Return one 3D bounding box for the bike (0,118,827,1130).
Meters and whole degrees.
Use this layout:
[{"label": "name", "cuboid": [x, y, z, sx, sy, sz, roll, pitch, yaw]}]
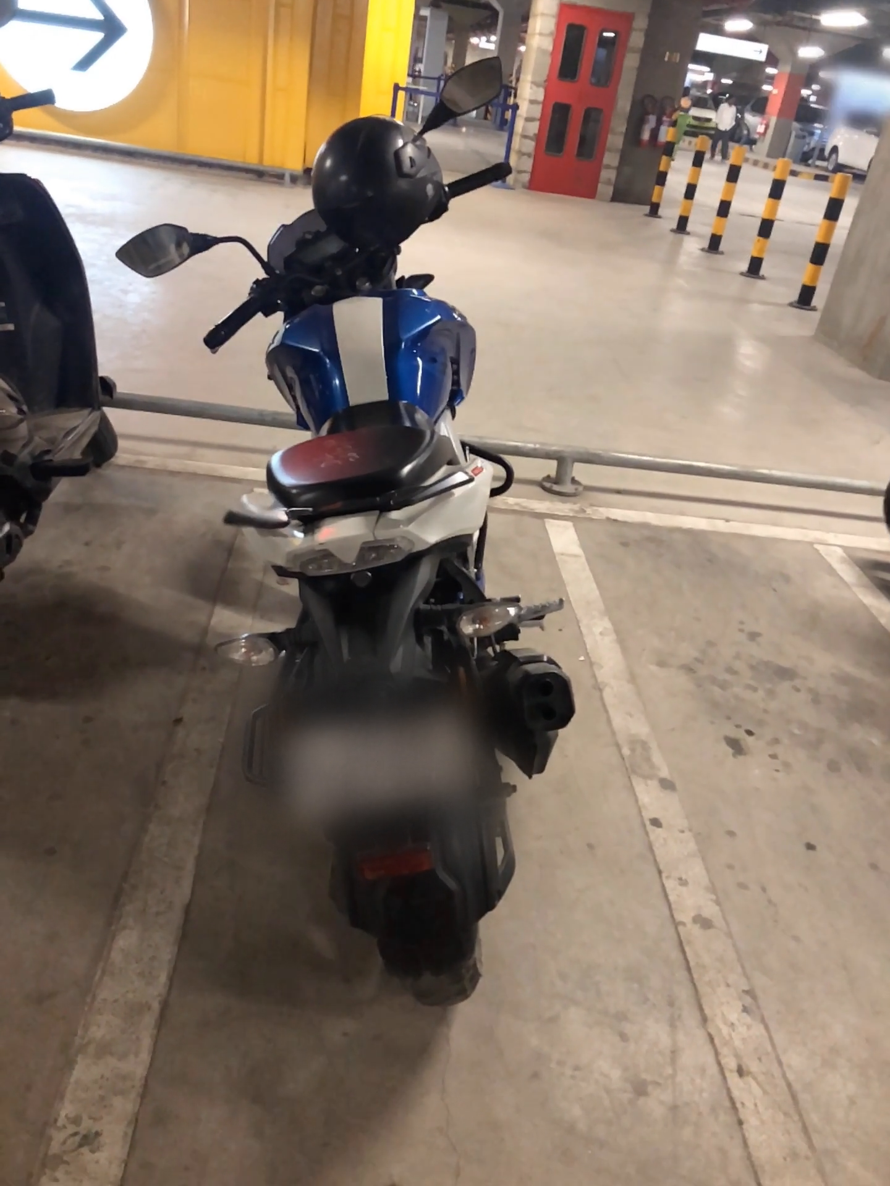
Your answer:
[{"label": "bike", "cuboid": [-0.288, -0.220, 1.982, 0.806, 1.162, 1.995, 3, 28, -12]}]
